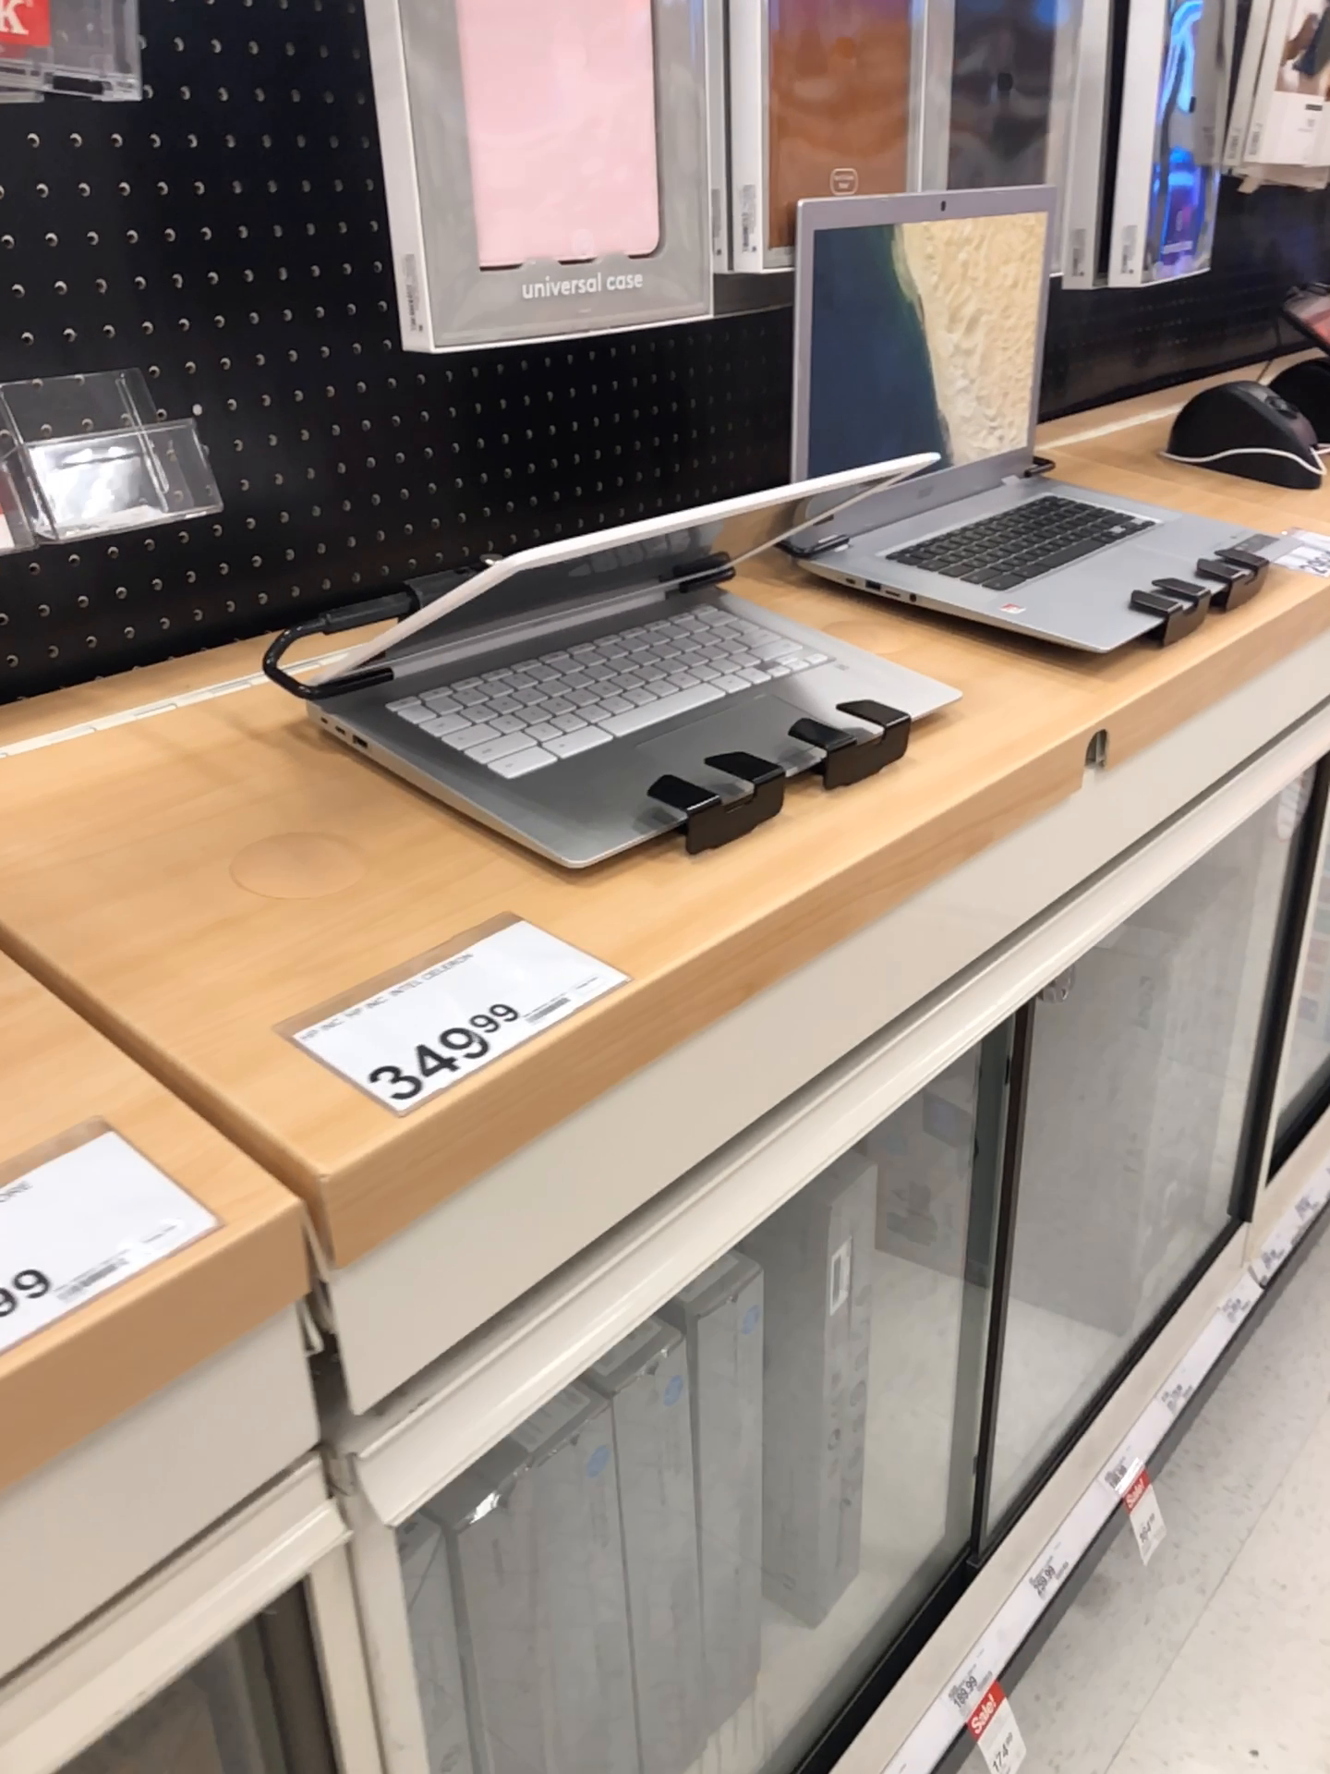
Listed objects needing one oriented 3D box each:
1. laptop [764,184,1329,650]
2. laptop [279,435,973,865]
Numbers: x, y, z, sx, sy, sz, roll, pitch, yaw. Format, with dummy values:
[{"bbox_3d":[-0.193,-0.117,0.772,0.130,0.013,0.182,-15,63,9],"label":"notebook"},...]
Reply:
[{"bbox_3d":[0.303,-0.383,1.112,0.273,0.244,0.389,22,34,33],"label":"laptop"},{"bbox_3d":[-0.008,-0.156,0.826,0.215,0.100,0.331,29,37,34],"label":"laptop"}]
